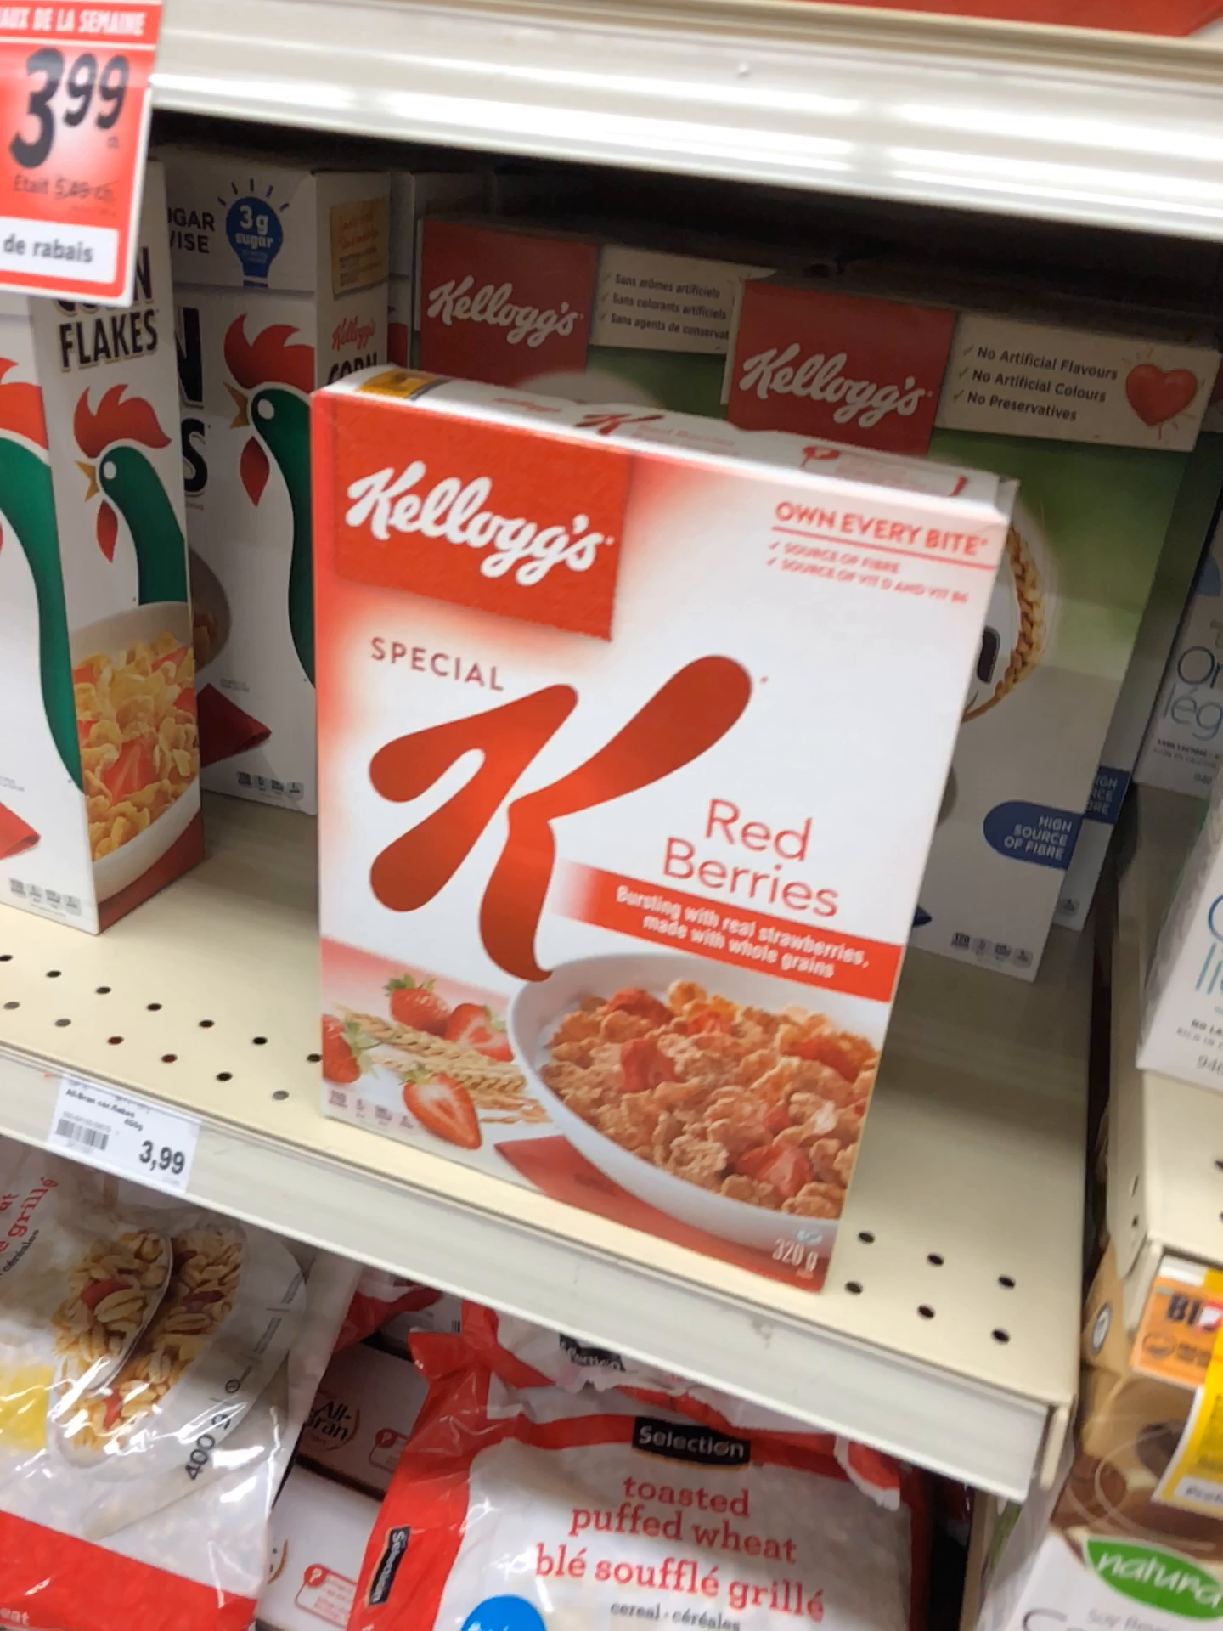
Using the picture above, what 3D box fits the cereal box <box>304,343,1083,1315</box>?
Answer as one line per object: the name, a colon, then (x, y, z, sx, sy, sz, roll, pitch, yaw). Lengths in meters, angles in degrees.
cereal box: (0.010, 0.010, 0.443, 0.210, 0.278, 0.060, 15, 31, 16)
